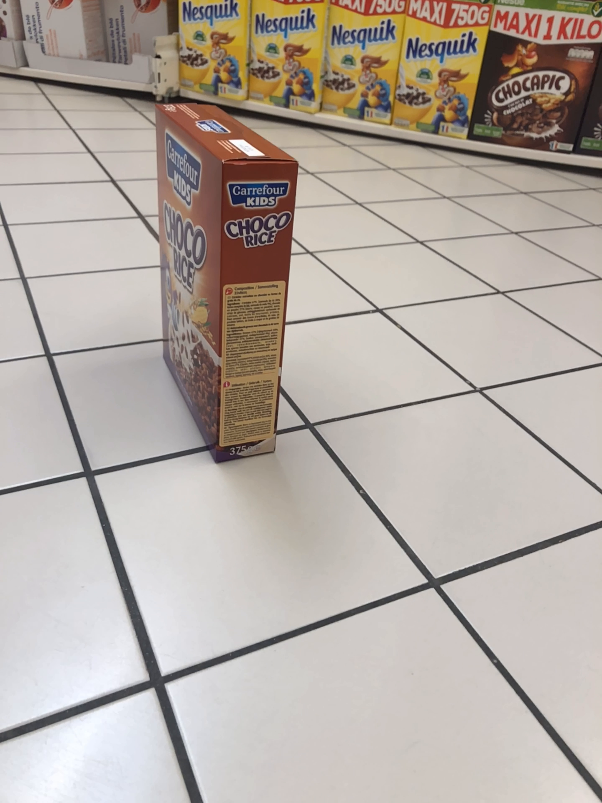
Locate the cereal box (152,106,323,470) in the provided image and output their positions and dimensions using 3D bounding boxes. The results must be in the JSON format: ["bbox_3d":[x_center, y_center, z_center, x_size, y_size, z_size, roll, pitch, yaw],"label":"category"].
[{"bbox_3d":[-0.066,-0.103,0.563,0.070,0.239,0.201,-9,35,-22],"label":"cereal box"}]
